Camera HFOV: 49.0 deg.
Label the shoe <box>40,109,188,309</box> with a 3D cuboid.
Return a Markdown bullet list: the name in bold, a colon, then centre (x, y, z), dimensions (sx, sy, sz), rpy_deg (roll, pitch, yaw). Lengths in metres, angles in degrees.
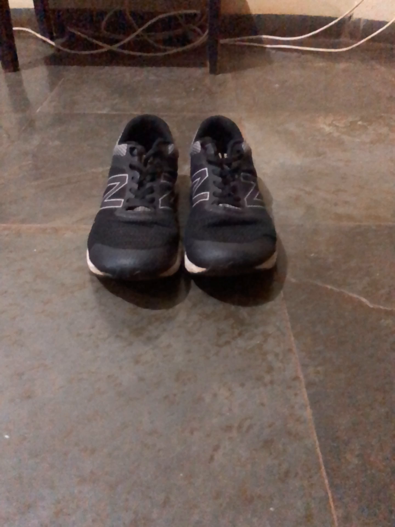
- **shoe**: centre (-0.077, -0.079, 0.487), dimensions (0.120, 0.099, 0.262), rpy_deg (-2, 38, -4)

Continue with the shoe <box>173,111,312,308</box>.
- **shoe**: centre (0.031, -0.079, 0.495), dimensions (0.110, 0.099, 0.262), rpy_deg (-2, 38, -4)
